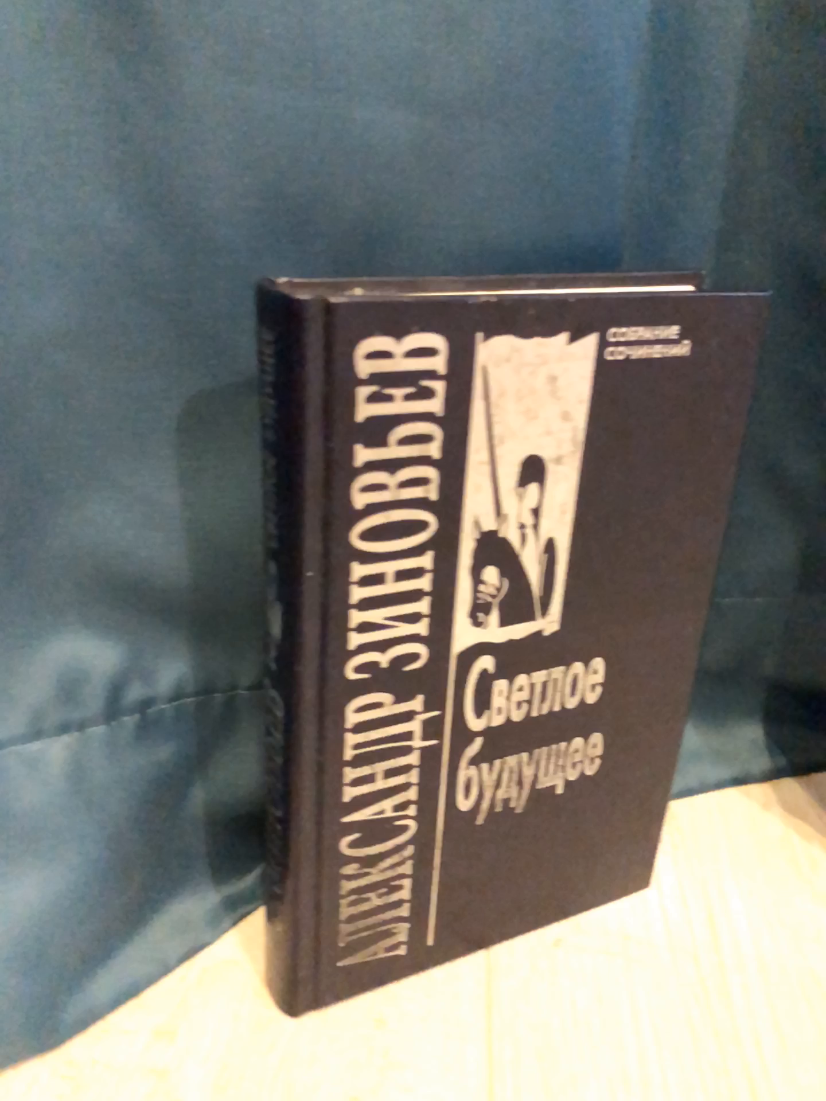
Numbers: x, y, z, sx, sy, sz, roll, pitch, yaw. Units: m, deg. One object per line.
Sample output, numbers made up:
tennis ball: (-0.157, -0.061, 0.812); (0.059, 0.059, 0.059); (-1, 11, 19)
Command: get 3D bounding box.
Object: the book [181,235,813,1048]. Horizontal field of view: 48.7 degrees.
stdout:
book: (0.021, 0.021, 0.252); (0.150, 0.199, 0.040); (-8, 24, -26)
